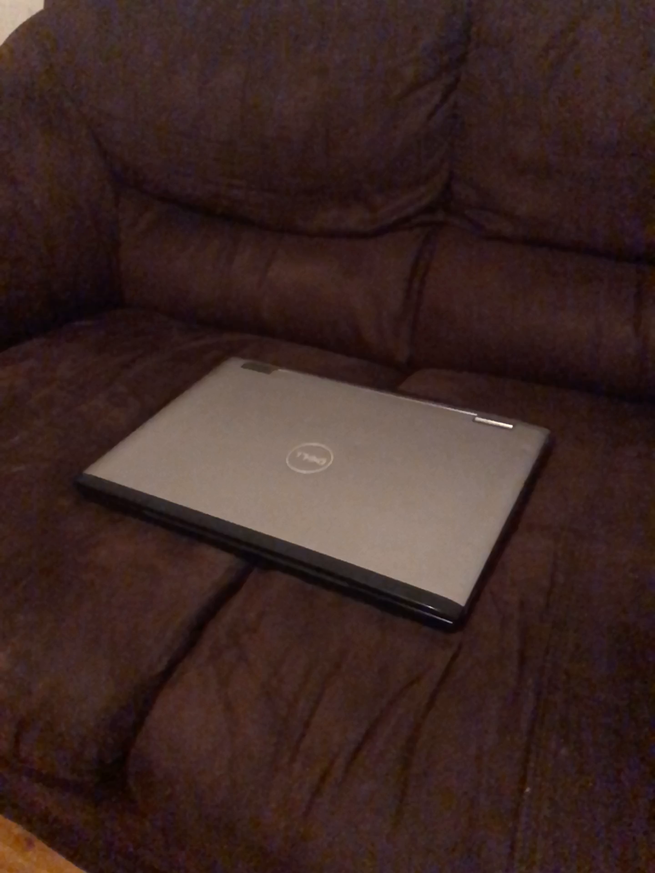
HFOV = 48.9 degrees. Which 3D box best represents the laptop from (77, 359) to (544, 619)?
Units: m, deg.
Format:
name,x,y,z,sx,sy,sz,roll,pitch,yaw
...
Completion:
name,x,y,z,sx,sy,sz,roll,pitch,yaw
laptop,-0.009,0.020,0.691,0.370,0.002,0.261,15,38,23
